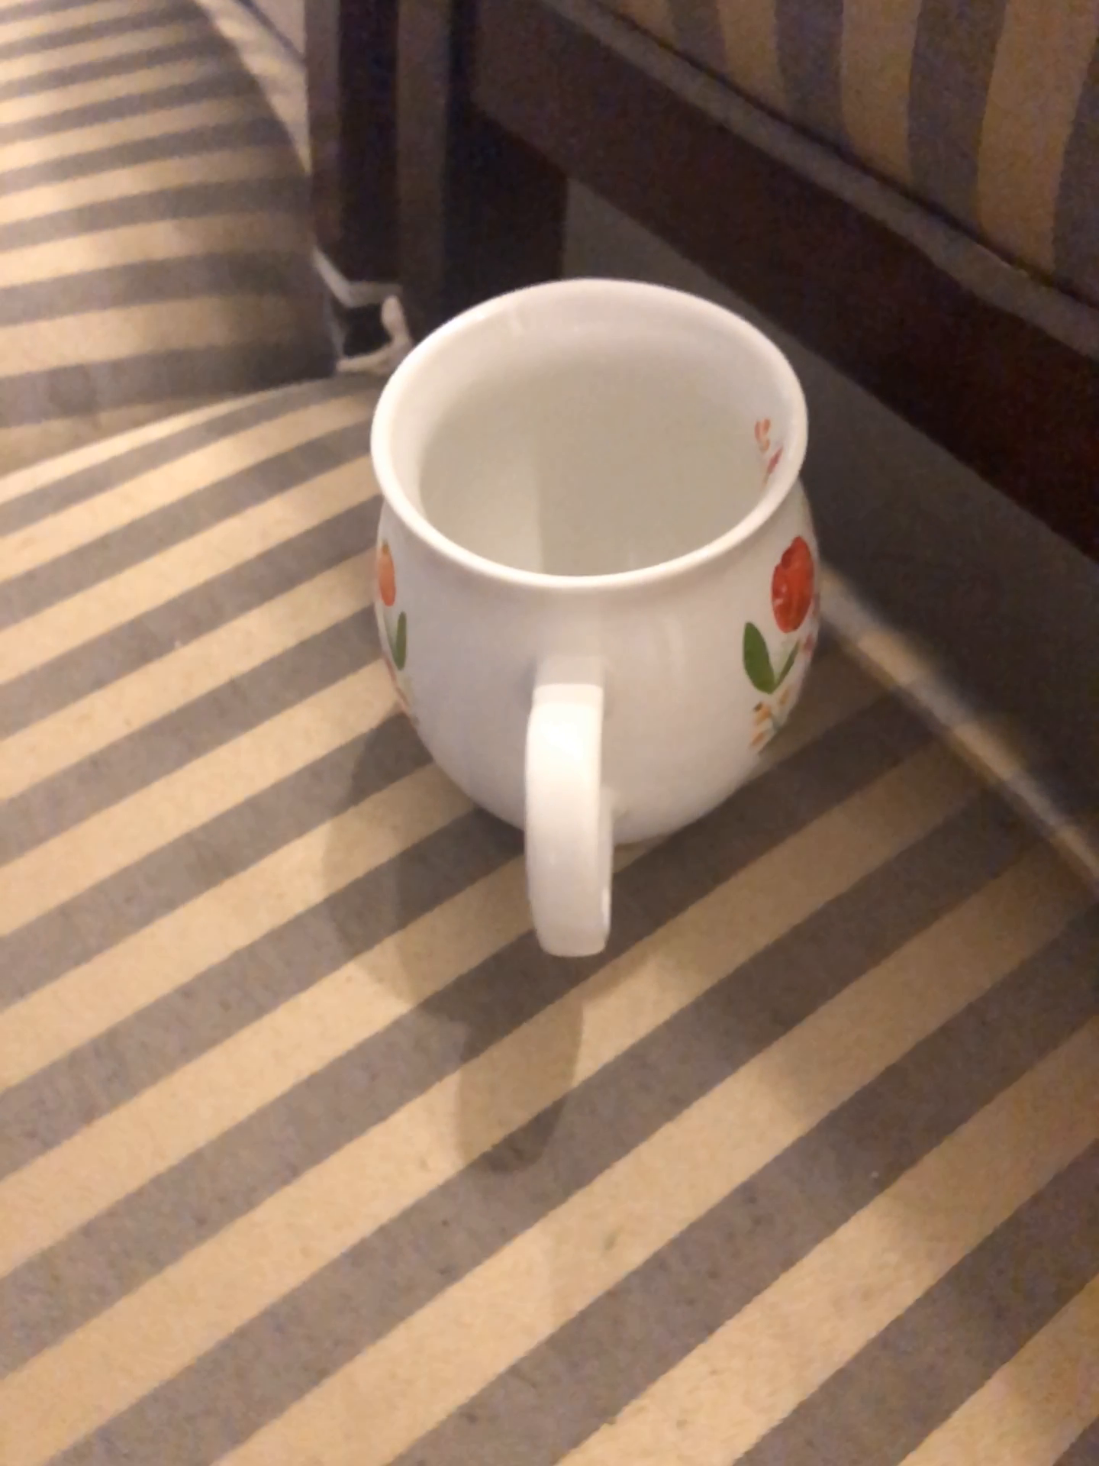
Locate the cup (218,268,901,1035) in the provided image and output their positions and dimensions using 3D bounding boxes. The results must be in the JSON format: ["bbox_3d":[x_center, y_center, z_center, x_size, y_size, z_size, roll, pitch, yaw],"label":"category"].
[{"bbox_3d":[0.007,-0.021,0.275,0.110,0.090,0.141,4,54,4],"label":"cup"}]
